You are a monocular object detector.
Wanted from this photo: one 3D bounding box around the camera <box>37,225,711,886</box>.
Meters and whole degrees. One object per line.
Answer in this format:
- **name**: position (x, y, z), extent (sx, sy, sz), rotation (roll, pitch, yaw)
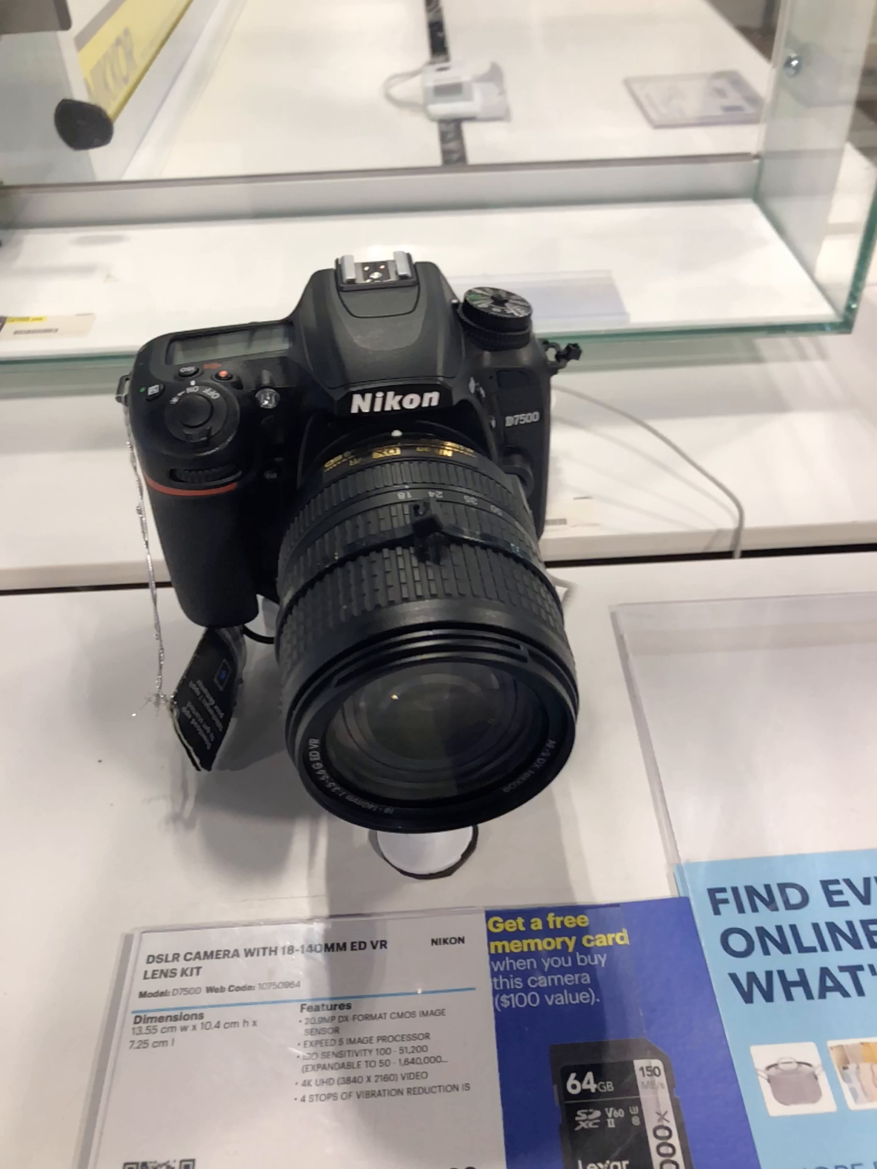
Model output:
- **camera**: position (-0.023, -0.025, 0.301), extent (0.140, 0.089, 0.191), rotation (-6, 42, -4)
